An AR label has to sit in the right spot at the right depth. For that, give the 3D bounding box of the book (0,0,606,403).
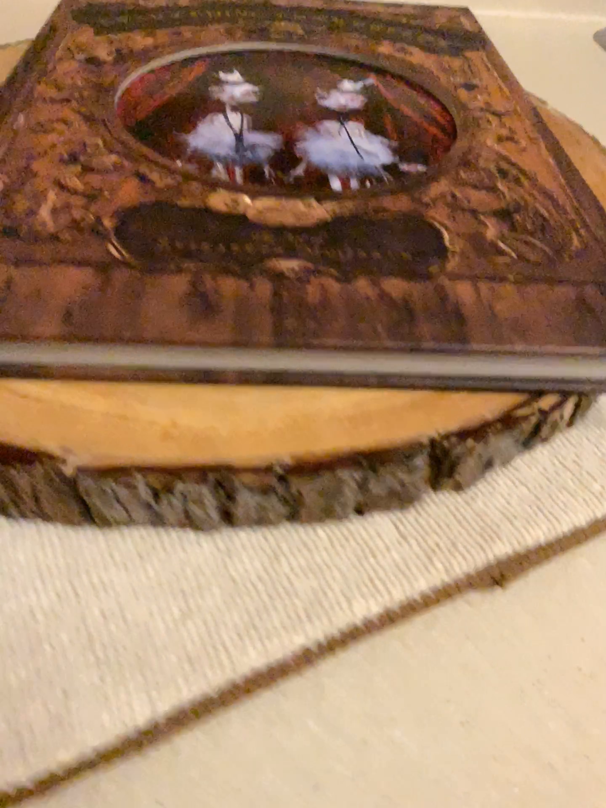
[{"bbox_3d":[-0.011,-0.119,0.288,0.230,0.020,0.310,1,45,-5],"label":"book"}]
